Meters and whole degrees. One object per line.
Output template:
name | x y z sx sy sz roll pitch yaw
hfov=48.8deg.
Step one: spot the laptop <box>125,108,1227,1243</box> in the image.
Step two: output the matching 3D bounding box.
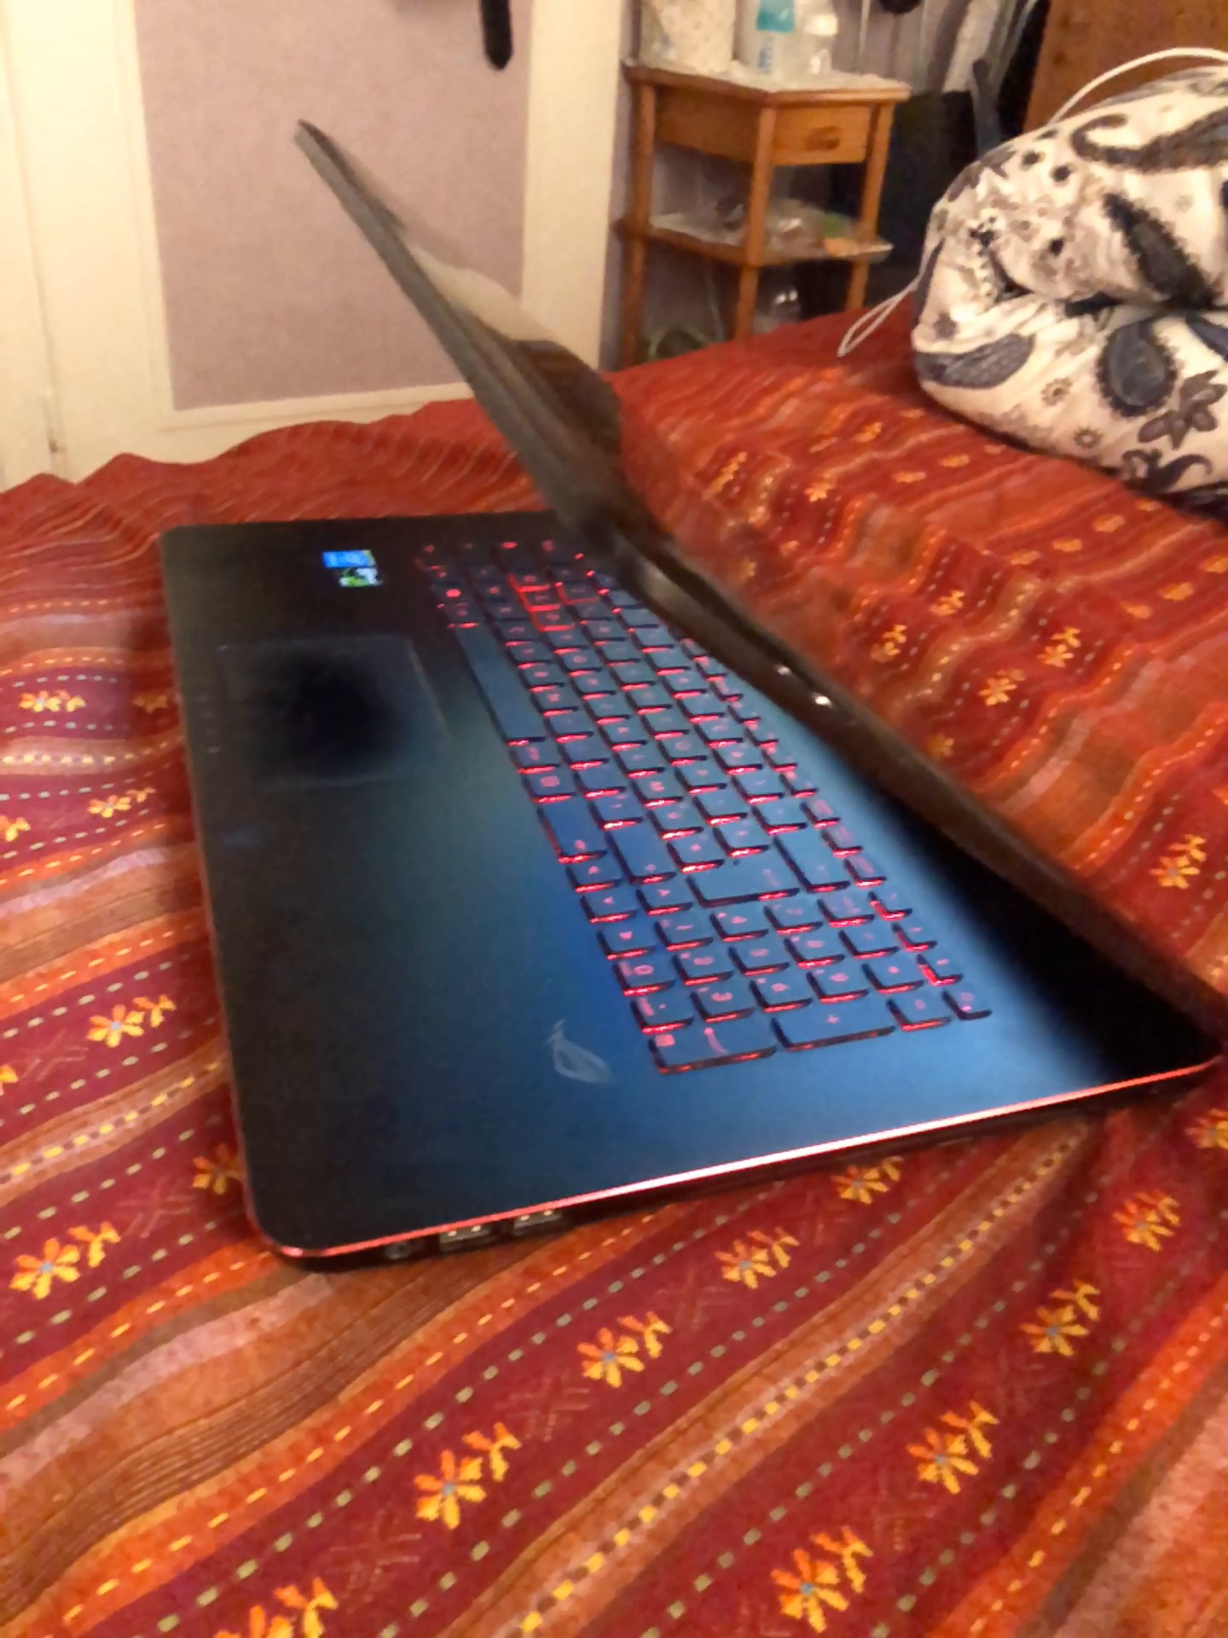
laptop | -0.006 -0.103 0.453 0.268 0.168 0.400 -6 36 -18
